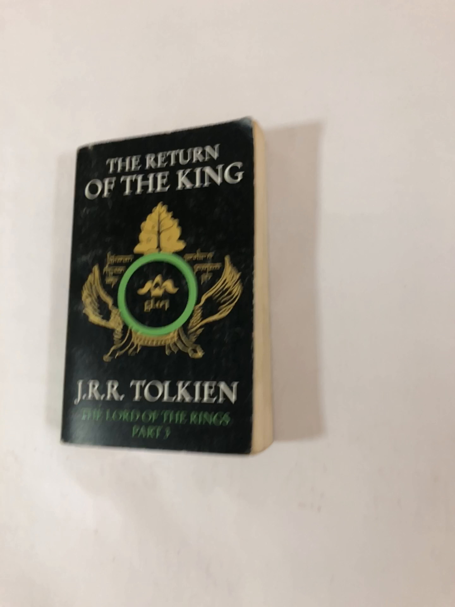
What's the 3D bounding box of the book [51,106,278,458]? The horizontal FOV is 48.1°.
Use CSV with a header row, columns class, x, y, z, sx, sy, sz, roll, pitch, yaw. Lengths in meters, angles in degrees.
class,x,y,z,sx,sy,sz,roll,pitch,yaw
book,-0.038,-0.011,0.322,0.130,0.040,0.200,-3,80,17
